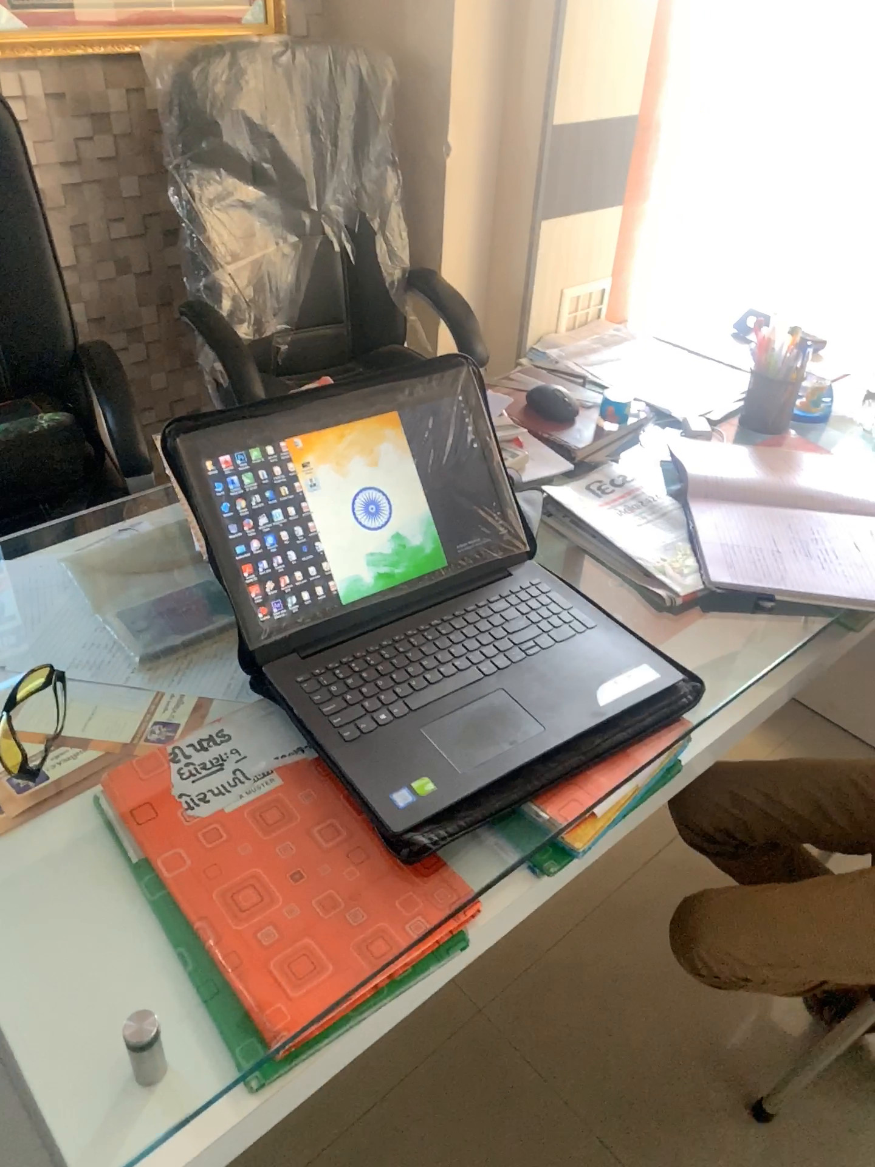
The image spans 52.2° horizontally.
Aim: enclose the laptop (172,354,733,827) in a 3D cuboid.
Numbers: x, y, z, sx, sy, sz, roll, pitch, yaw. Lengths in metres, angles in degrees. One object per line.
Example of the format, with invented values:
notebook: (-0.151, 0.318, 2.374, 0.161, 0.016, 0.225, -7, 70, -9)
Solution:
laptop: (-0.006, -0.034, 0.848, 0.334, 0.175, 0.391, -20, 43, -29)
